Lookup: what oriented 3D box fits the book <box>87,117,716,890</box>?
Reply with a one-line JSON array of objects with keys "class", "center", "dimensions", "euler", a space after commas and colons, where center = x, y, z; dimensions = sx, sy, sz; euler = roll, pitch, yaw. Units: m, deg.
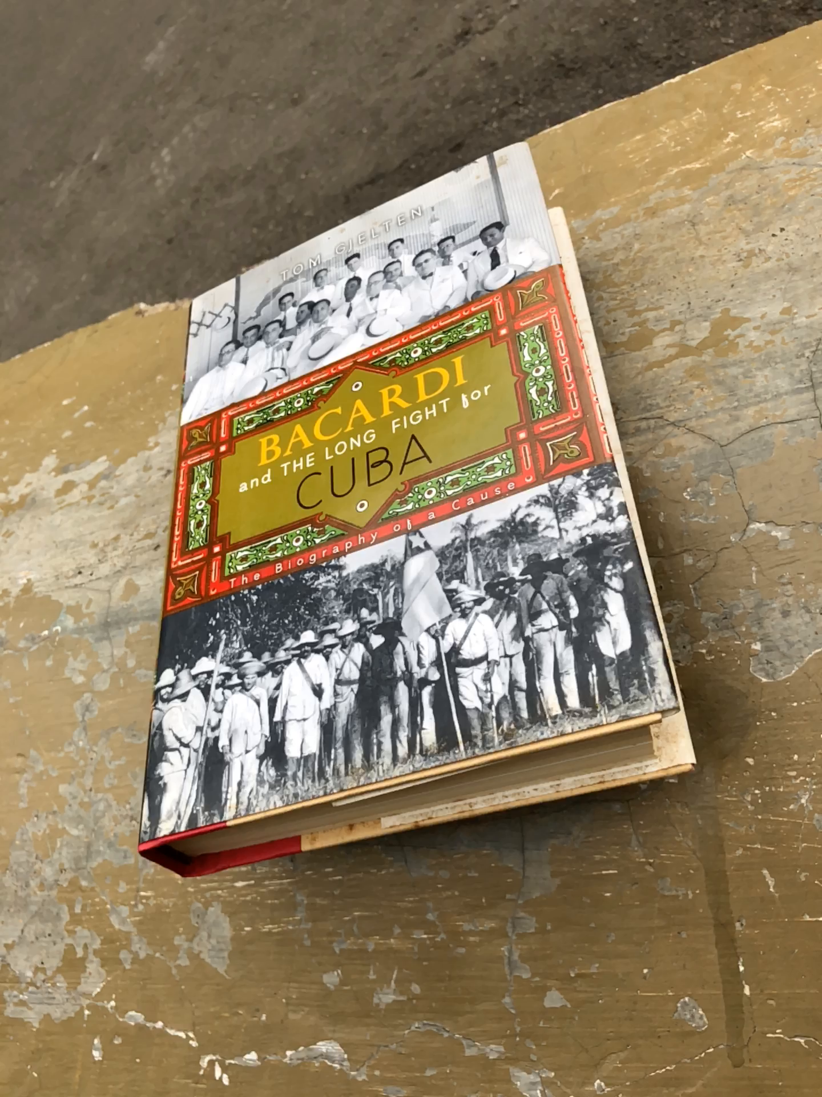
[{"class": "book", "center": [-0.014, -0.028, 0.328], "dimensions": [0.170, 0.050, 0.250], "euler": [-19, 52, 19]}]
